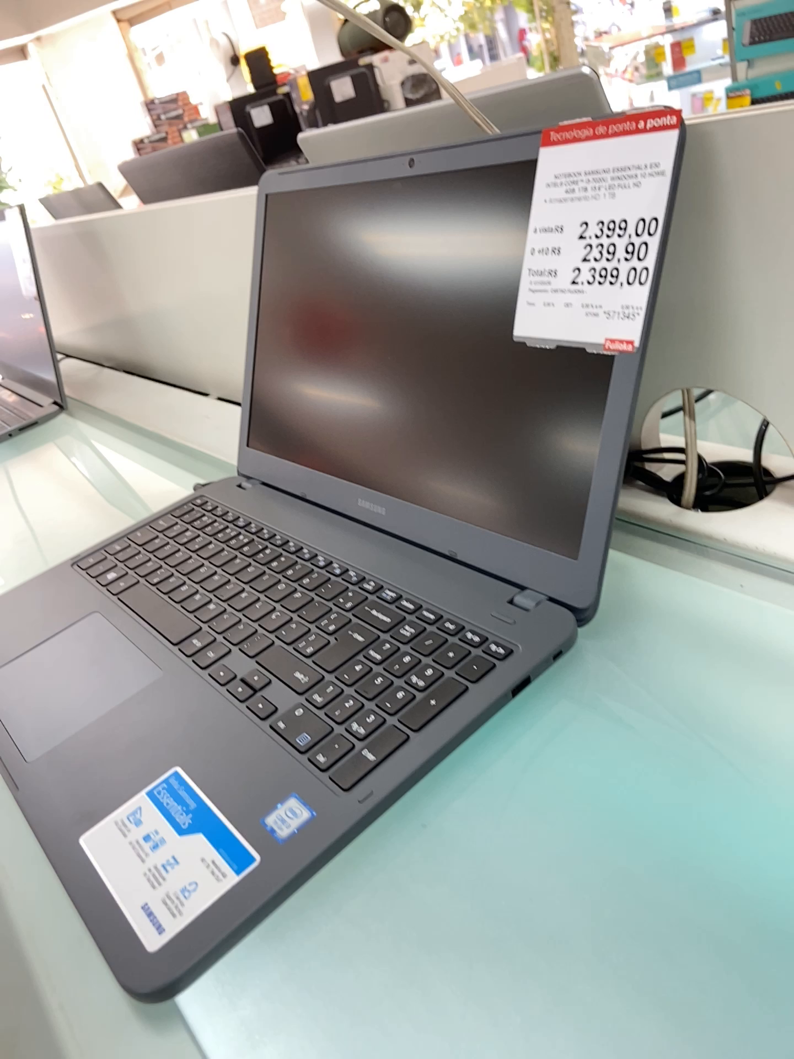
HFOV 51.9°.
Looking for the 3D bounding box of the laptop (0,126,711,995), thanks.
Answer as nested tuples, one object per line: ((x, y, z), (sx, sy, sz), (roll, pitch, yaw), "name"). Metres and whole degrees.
((-0.096, -0.051, 0.454), (0.352, 0.197, 0.361), (-33, 32, -27), "laptop")
